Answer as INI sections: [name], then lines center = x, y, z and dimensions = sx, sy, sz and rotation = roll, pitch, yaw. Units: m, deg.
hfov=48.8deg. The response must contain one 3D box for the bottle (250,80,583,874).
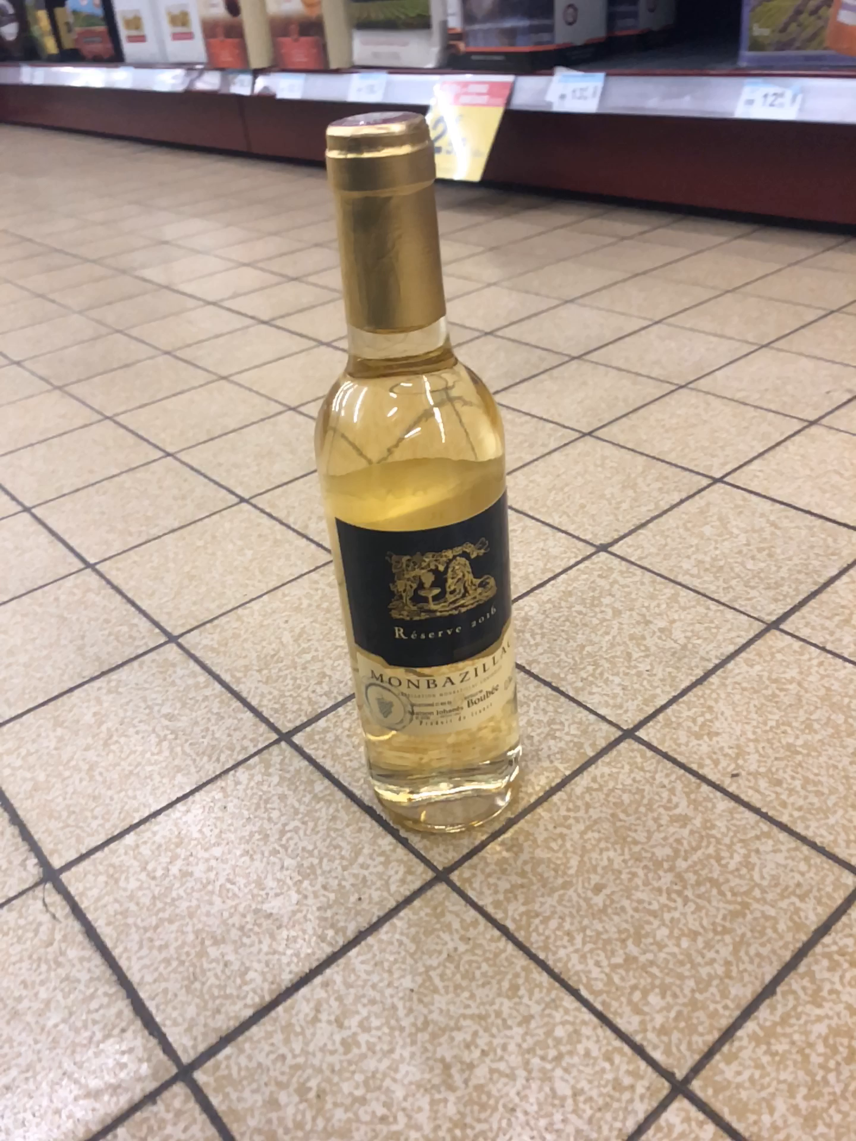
[bottle]
center = 0.003, -0.019, 0.306
dimensions = 0.070, 0.239, 0.070
rotation = -4, 32, 3
